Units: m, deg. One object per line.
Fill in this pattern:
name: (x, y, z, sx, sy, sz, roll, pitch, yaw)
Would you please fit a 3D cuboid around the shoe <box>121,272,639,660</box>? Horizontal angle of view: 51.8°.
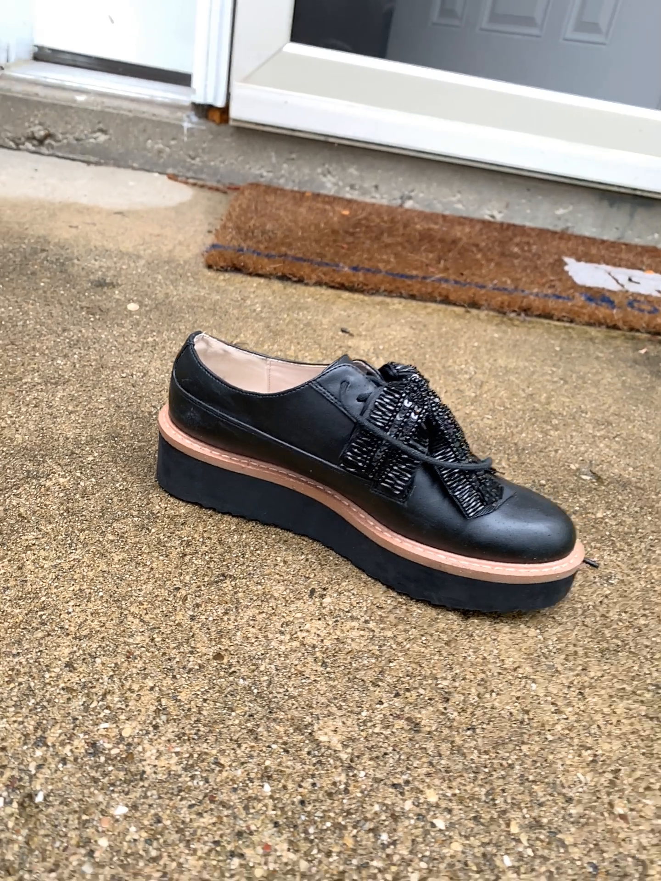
shoe: (0.021, 0.003, 0.399, 0.258, 0.120, 0.107, 17, 30, 11)
